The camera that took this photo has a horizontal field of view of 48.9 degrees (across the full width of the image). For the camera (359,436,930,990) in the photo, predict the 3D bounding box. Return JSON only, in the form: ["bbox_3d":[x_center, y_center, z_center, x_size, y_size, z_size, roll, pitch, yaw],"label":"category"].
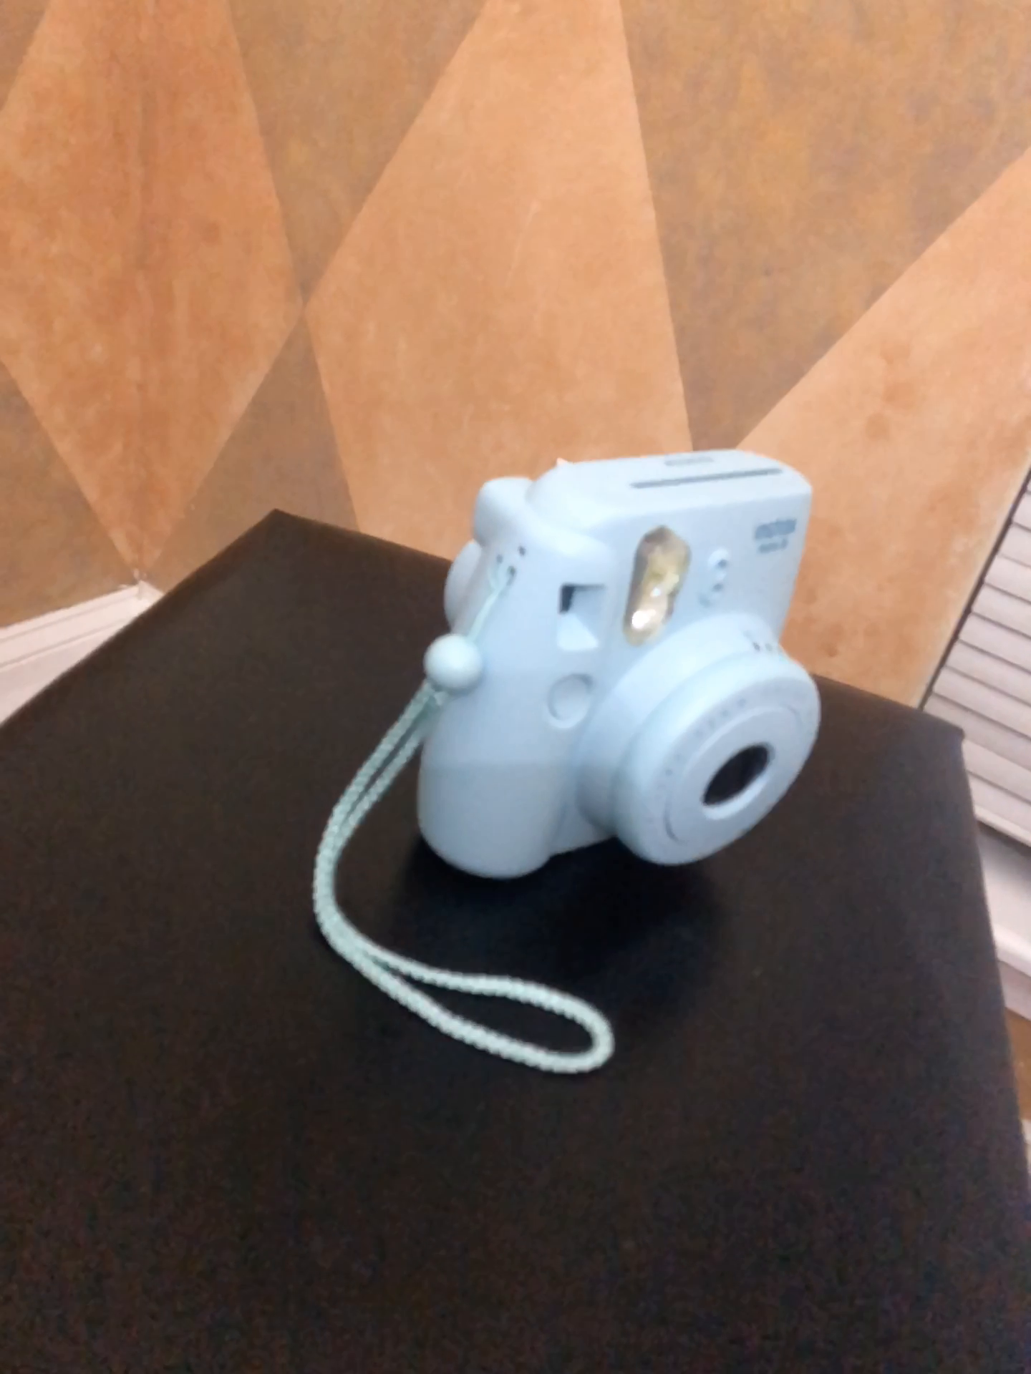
[{"bbox_3d":[0.032,0.001,0.321,0.120,0.118,0.068,-12,40,-35],"label":"camera"}]
